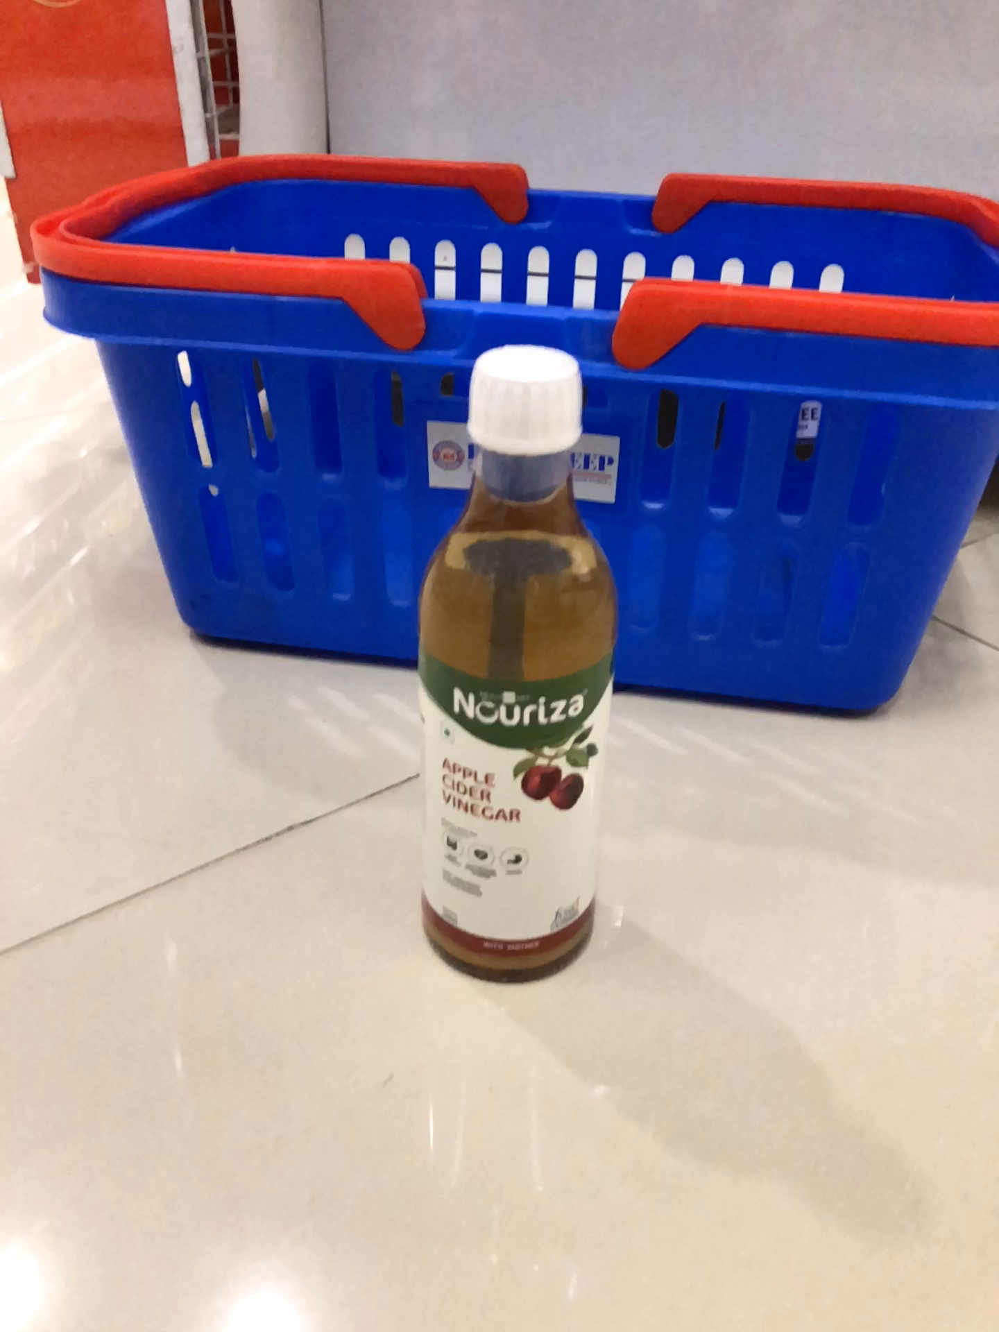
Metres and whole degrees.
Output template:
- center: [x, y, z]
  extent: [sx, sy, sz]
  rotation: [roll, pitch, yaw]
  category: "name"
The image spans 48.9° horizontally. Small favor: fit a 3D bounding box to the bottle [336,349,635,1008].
- center: [-0.003, 0.011, 0.383]
  extent: [0.080, 0.219, 0.070]
  rotation: [5, 31, 5]
  category: "bottle"
